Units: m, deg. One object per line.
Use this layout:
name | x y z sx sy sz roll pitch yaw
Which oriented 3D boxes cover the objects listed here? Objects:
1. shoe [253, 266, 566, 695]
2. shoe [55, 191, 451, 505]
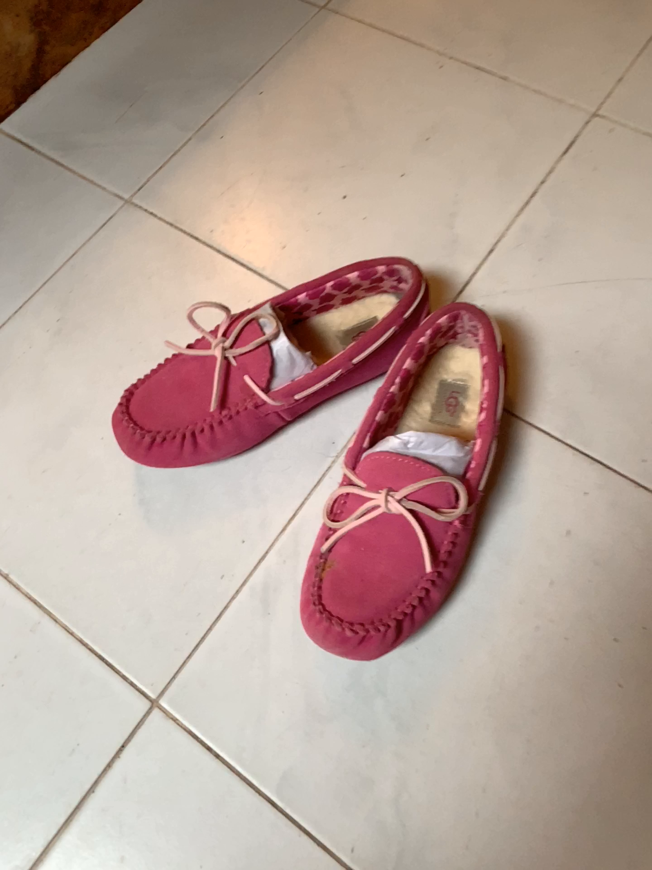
shoe | 0.055 0.024 0.399 0.090 0.084 0.227 22 69 14
shoe | -0.042 -0.057 0.441 0.227 0.084 0.090 -27 66 -7
